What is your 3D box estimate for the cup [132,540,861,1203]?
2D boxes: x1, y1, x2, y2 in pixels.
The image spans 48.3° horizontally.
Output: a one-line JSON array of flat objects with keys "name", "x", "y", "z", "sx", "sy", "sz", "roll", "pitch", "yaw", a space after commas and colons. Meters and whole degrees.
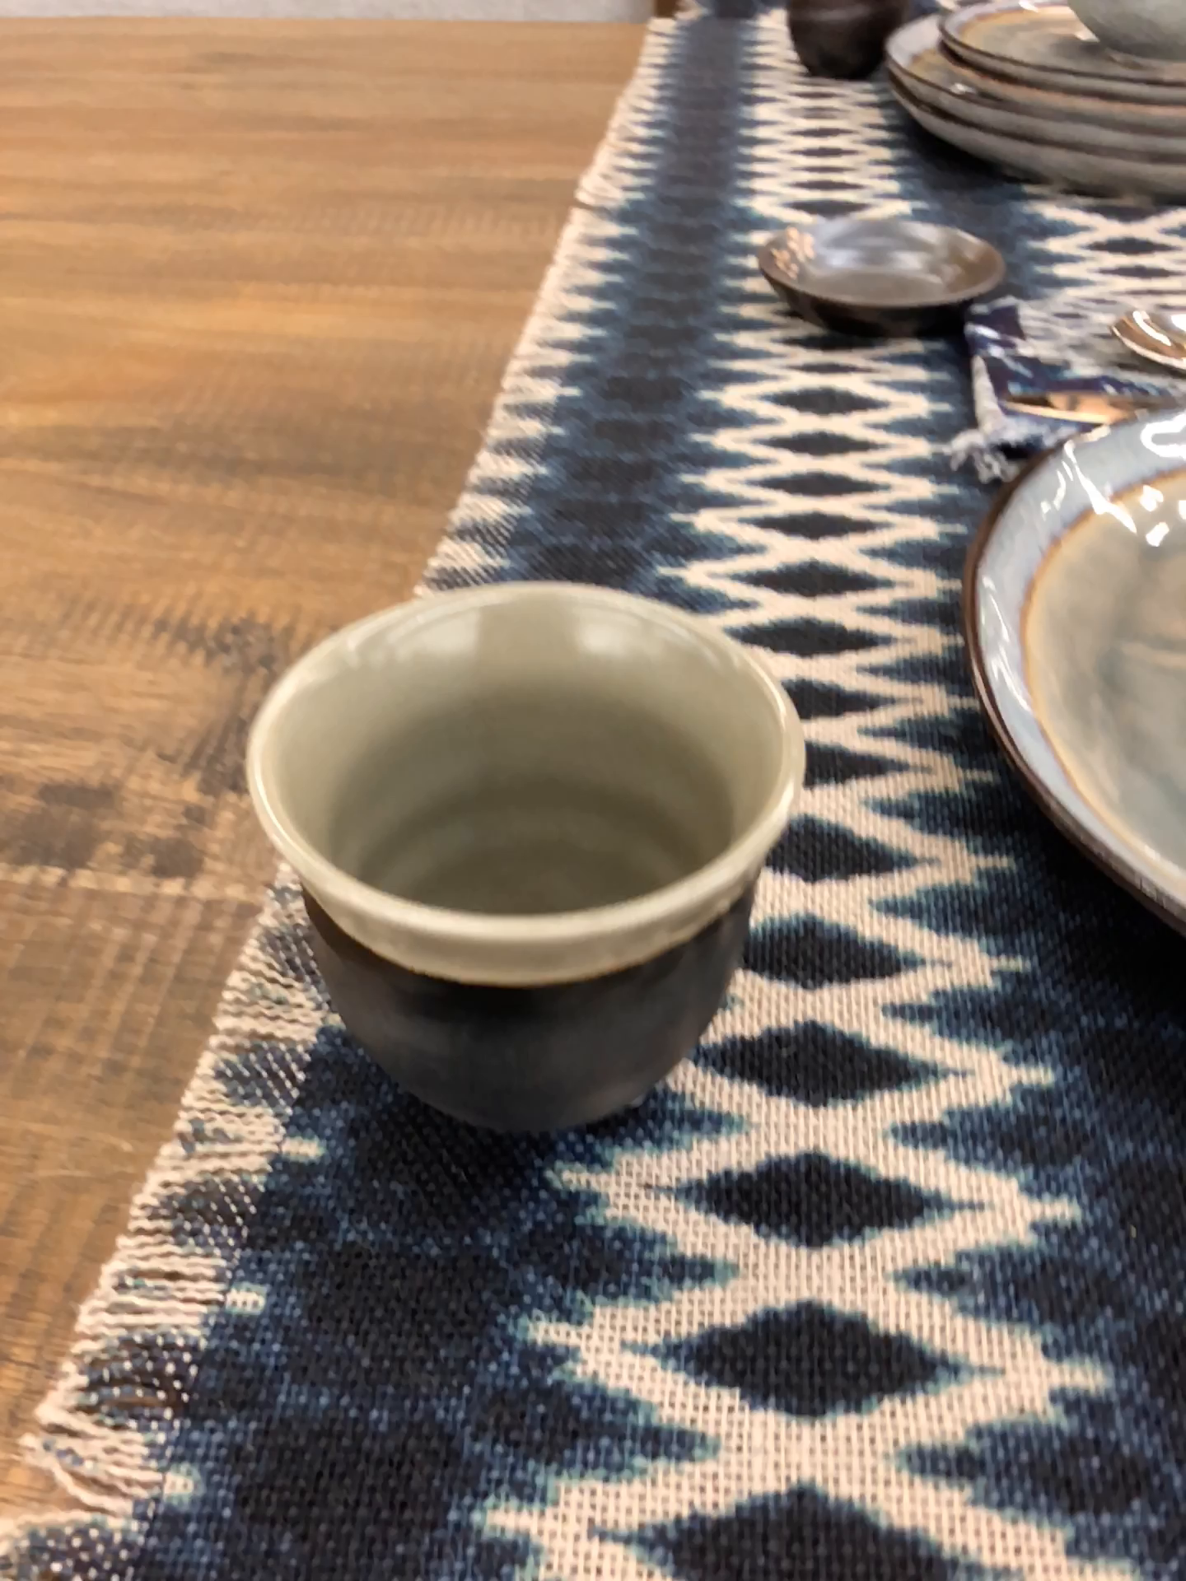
[{"name": "cup", "x": -0.007, "y": 0.007, "z": 0.202, "sx": 0.084, "sy": 0.048, "sz": 0.079, "roll": -1, "pitch": 42, "yaw": 1}]
